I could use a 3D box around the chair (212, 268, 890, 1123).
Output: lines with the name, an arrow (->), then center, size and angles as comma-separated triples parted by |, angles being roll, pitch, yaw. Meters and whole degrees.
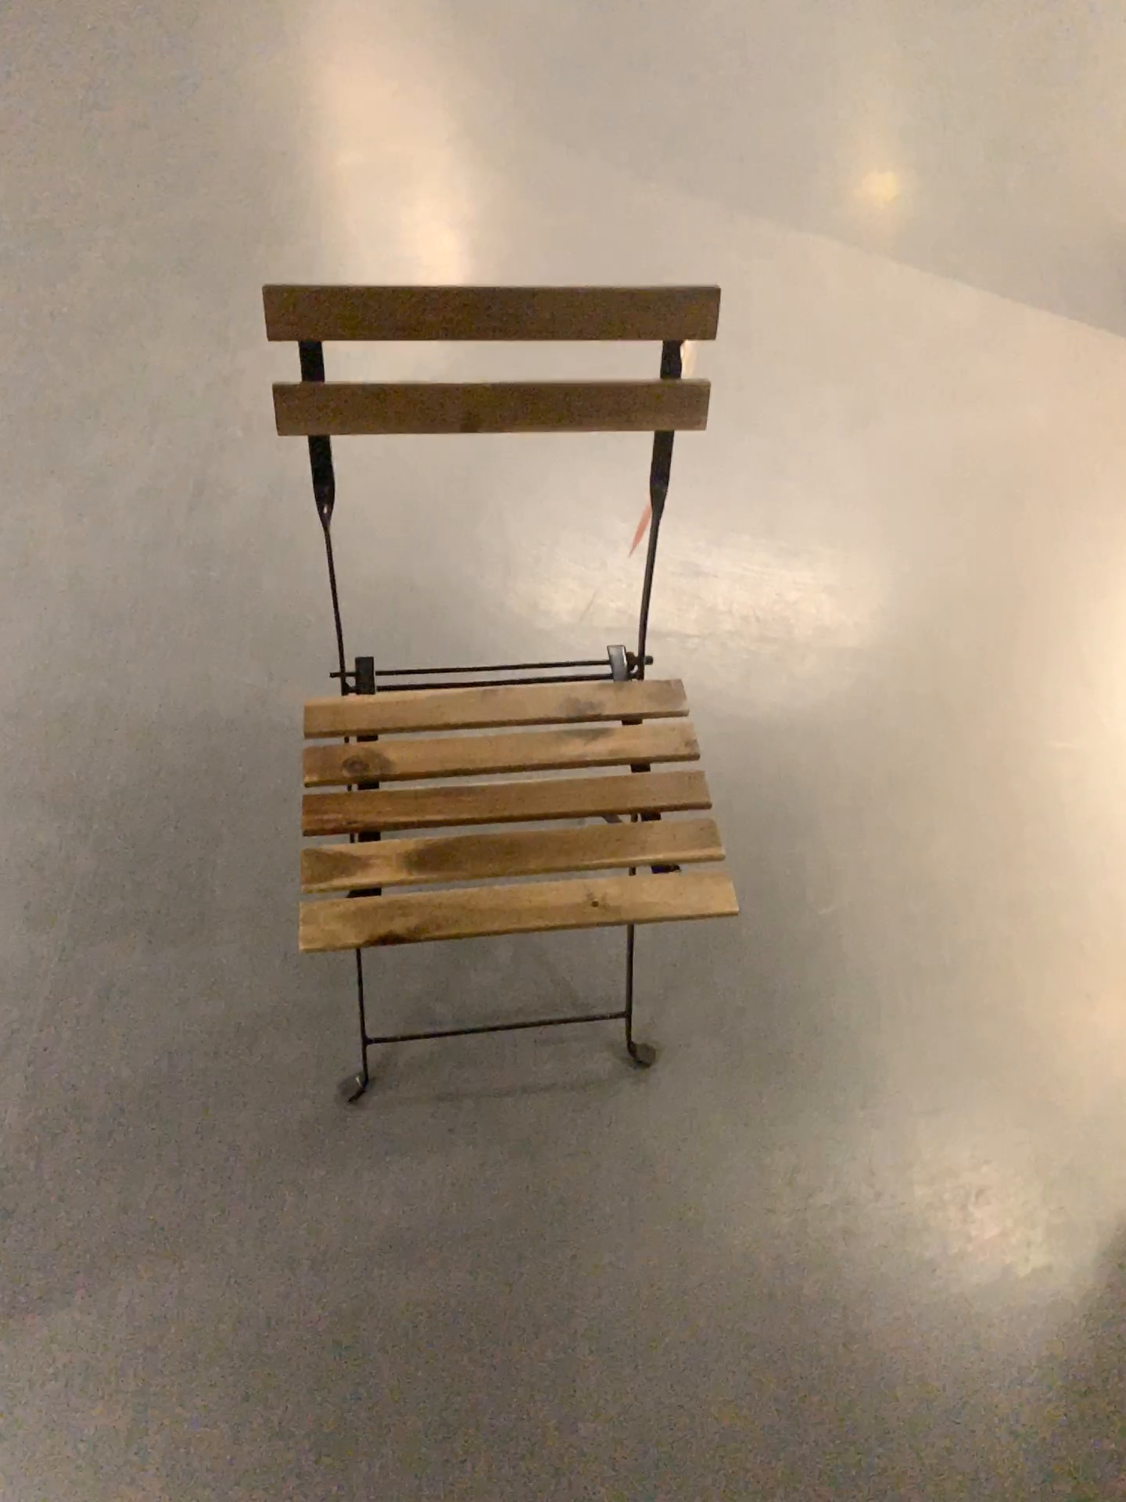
chair -> -0.056, -0.009, 1.129 | 0.420, 0.698, 0.501 | -3, 56, -8
